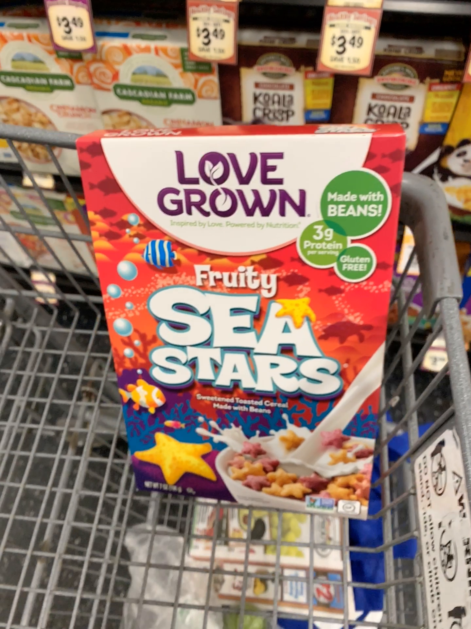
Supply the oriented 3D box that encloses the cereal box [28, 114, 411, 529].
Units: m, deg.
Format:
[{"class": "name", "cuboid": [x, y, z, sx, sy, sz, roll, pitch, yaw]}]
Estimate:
[{"class": "cereal box", "cuboid": [-0.004, 0.014, 0.305, 0.180, 0.249, 0.050, 4, 29, 12]}]
